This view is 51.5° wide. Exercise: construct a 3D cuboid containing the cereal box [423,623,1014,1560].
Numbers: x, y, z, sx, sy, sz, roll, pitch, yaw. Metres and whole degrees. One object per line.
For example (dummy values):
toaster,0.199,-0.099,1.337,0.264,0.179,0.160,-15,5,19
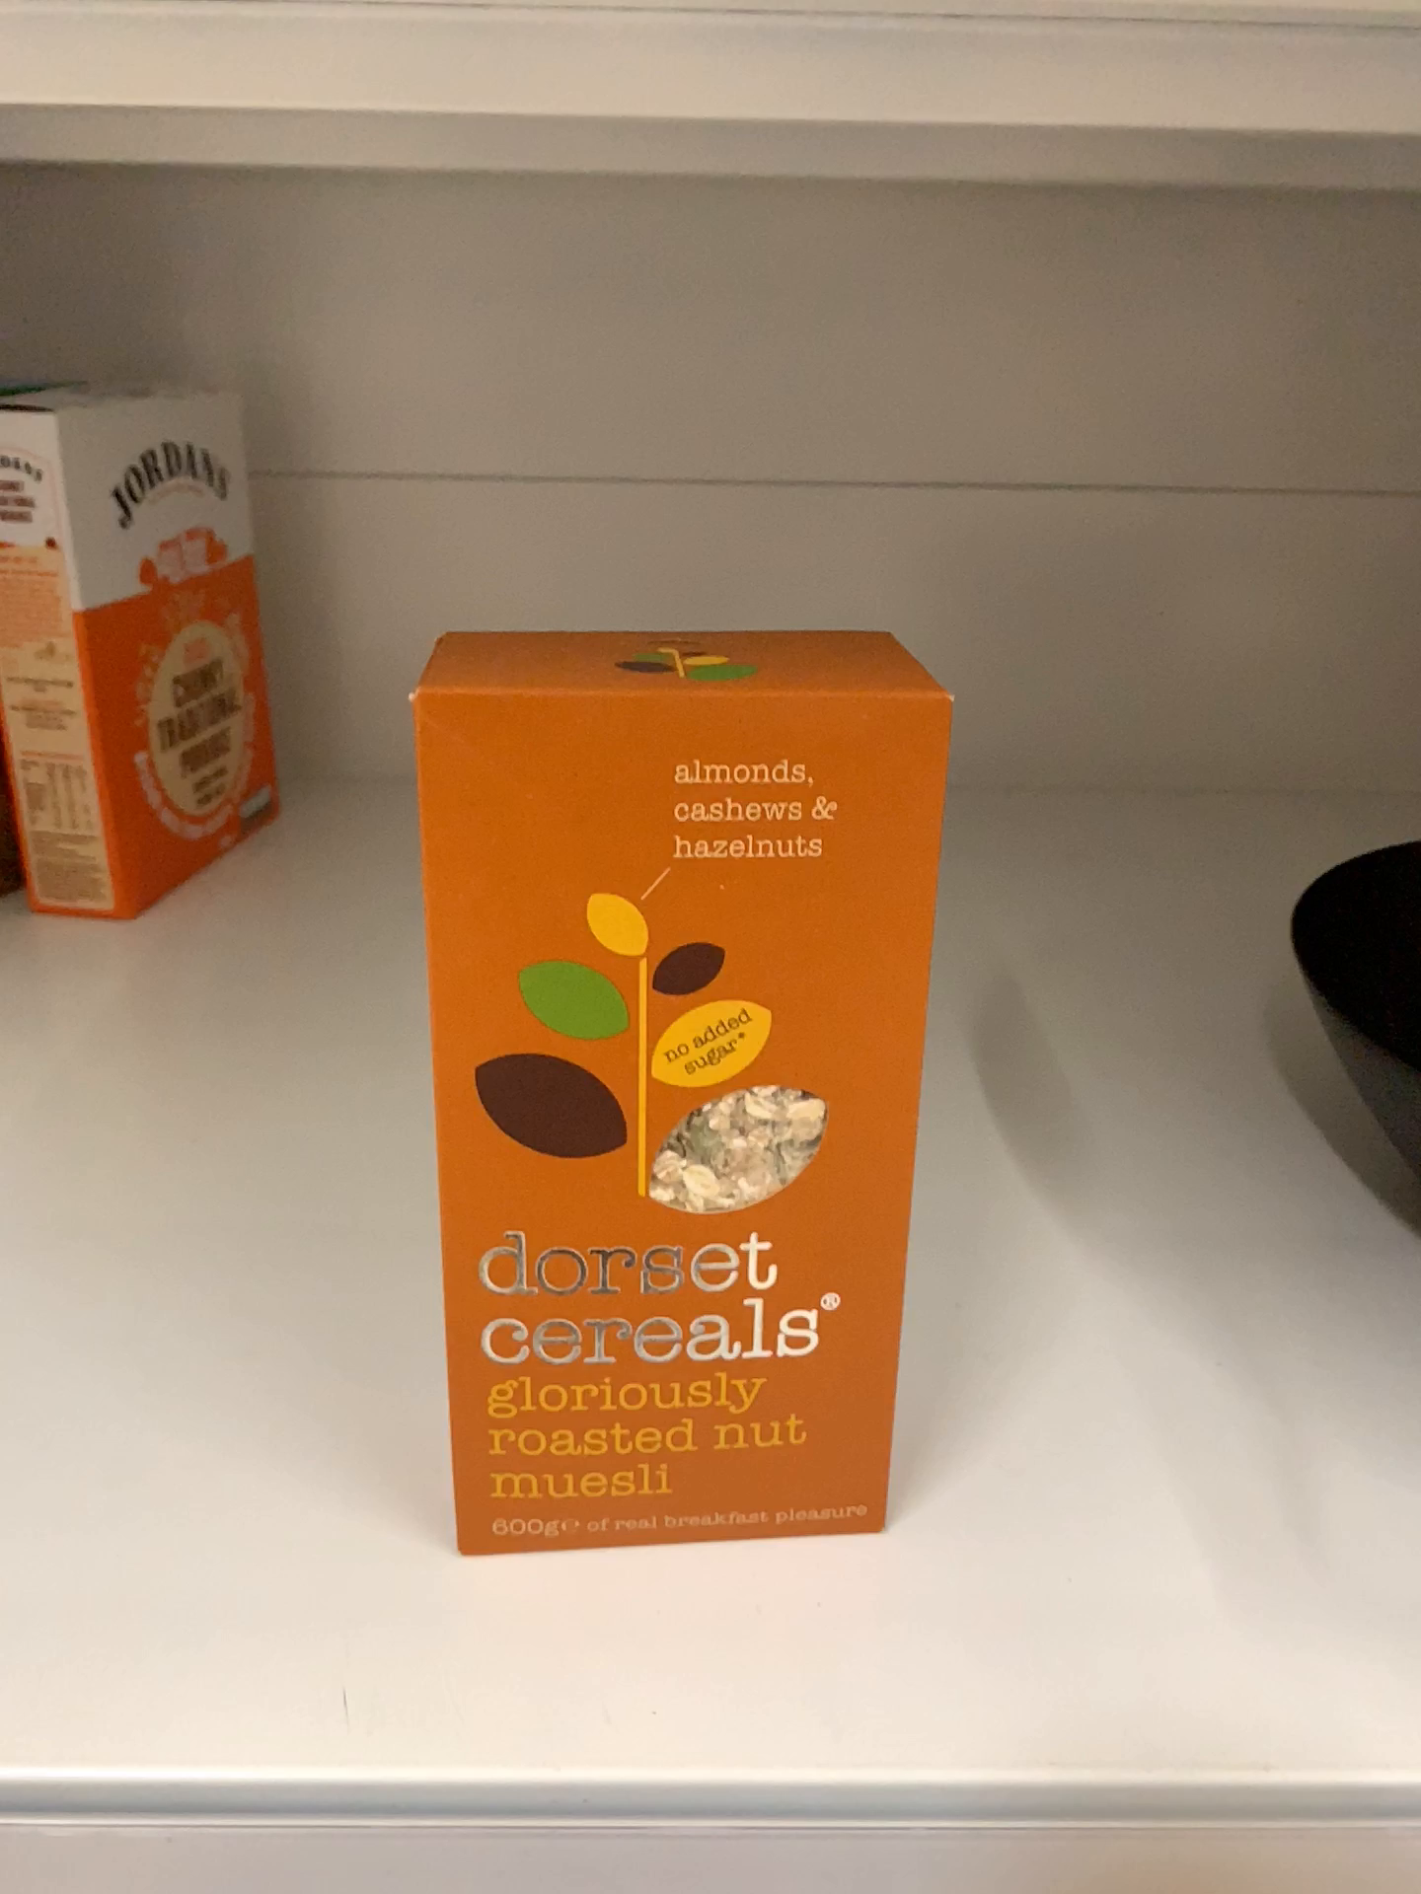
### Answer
cereal box,-0.002,0.040,0.369,0.120,0.228,0.060,-1,23,-5
